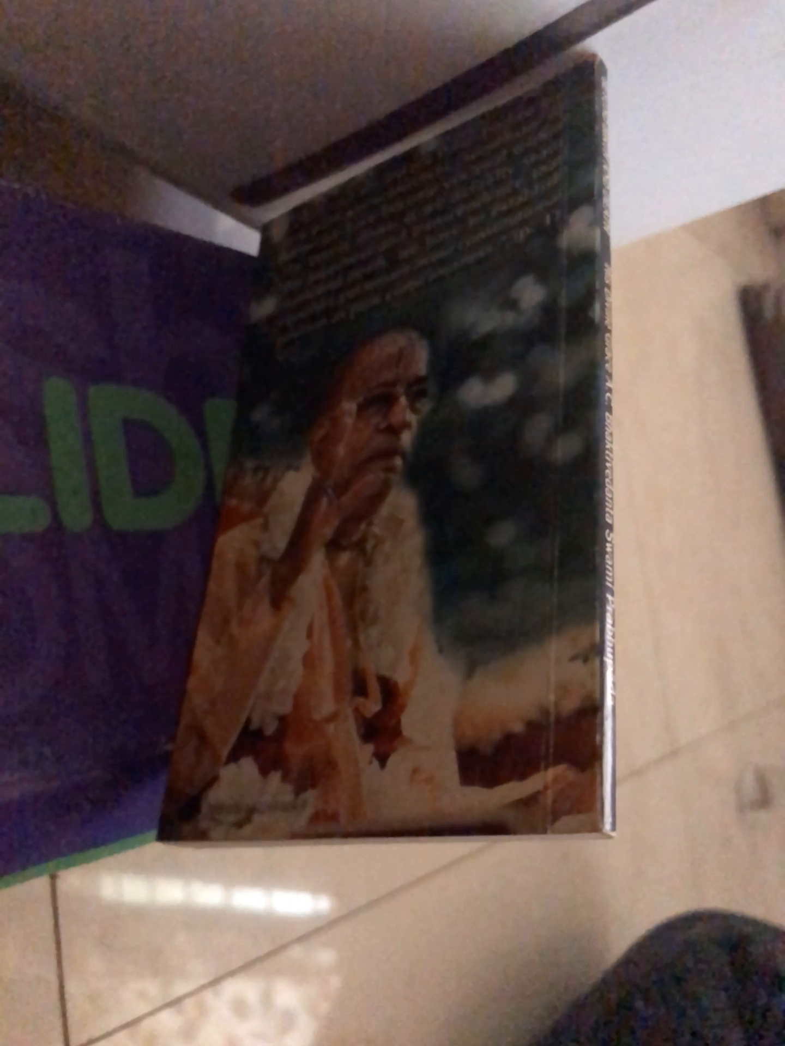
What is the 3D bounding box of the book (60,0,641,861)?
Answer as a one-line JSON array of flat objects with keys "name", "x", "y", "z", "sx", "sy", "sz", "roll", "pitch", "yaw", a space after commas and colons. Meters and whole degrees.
[{"name": "book", "x": -0.012, "y": -0.030, "z": 0.194, "sx": 0.010, "sy": 0.119, "sz": 0.190, "roll": 33, "pitch": 51, "yaw": -43}]
